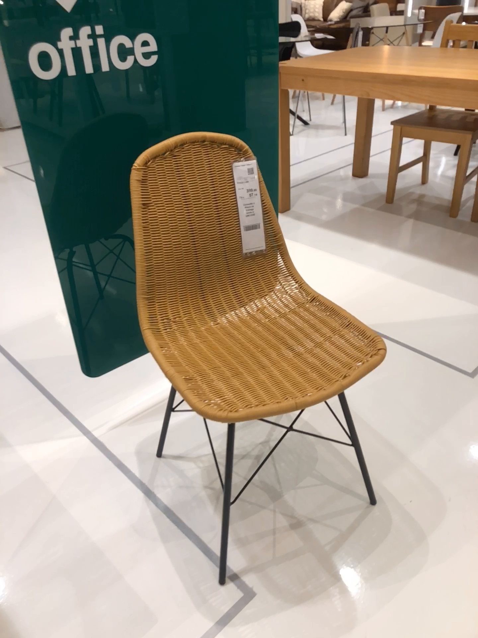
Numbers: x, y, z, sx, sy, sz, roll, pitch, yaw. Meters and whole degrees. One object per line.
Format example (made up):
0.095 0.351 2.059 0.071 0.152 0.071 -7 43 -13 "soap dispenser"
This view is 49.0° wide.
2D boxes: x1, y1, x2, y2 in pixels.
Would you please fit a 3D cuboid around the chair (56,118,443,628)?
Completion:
-0.008 0.081 1.186 0.491 0.863 0.573 -18 35 -23 "chair"
